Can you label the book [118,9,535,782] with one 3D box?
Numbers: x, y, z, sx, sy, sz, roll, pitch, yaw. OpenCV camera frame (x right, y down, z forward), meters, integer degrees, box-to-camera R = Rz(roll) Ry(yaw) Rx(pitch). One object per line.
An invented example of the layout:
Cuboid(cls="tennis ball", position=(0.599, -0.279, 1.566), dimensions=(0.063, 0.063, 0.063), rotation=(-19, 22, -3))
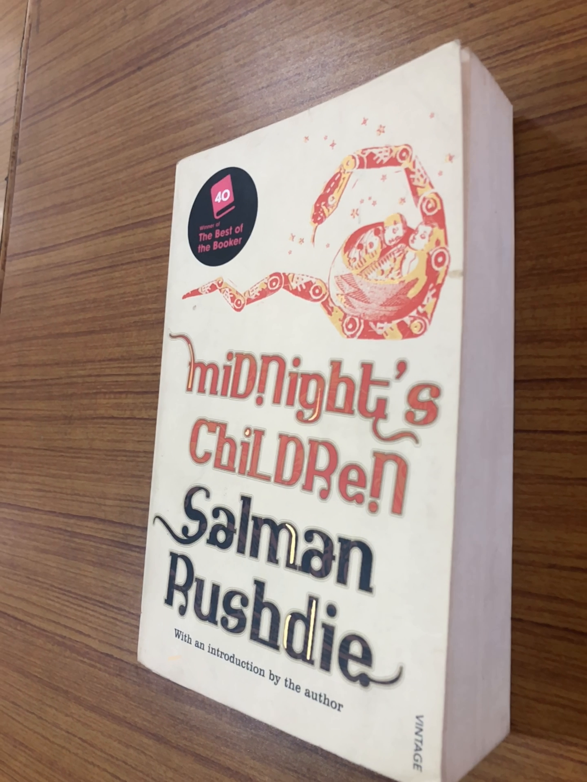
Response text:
Cuboid(cls="book", position=(0.004, 0.004, 0.224), dimensions=(0.141, 0.040, 0.200), rotation=(-3, 82, 43))
